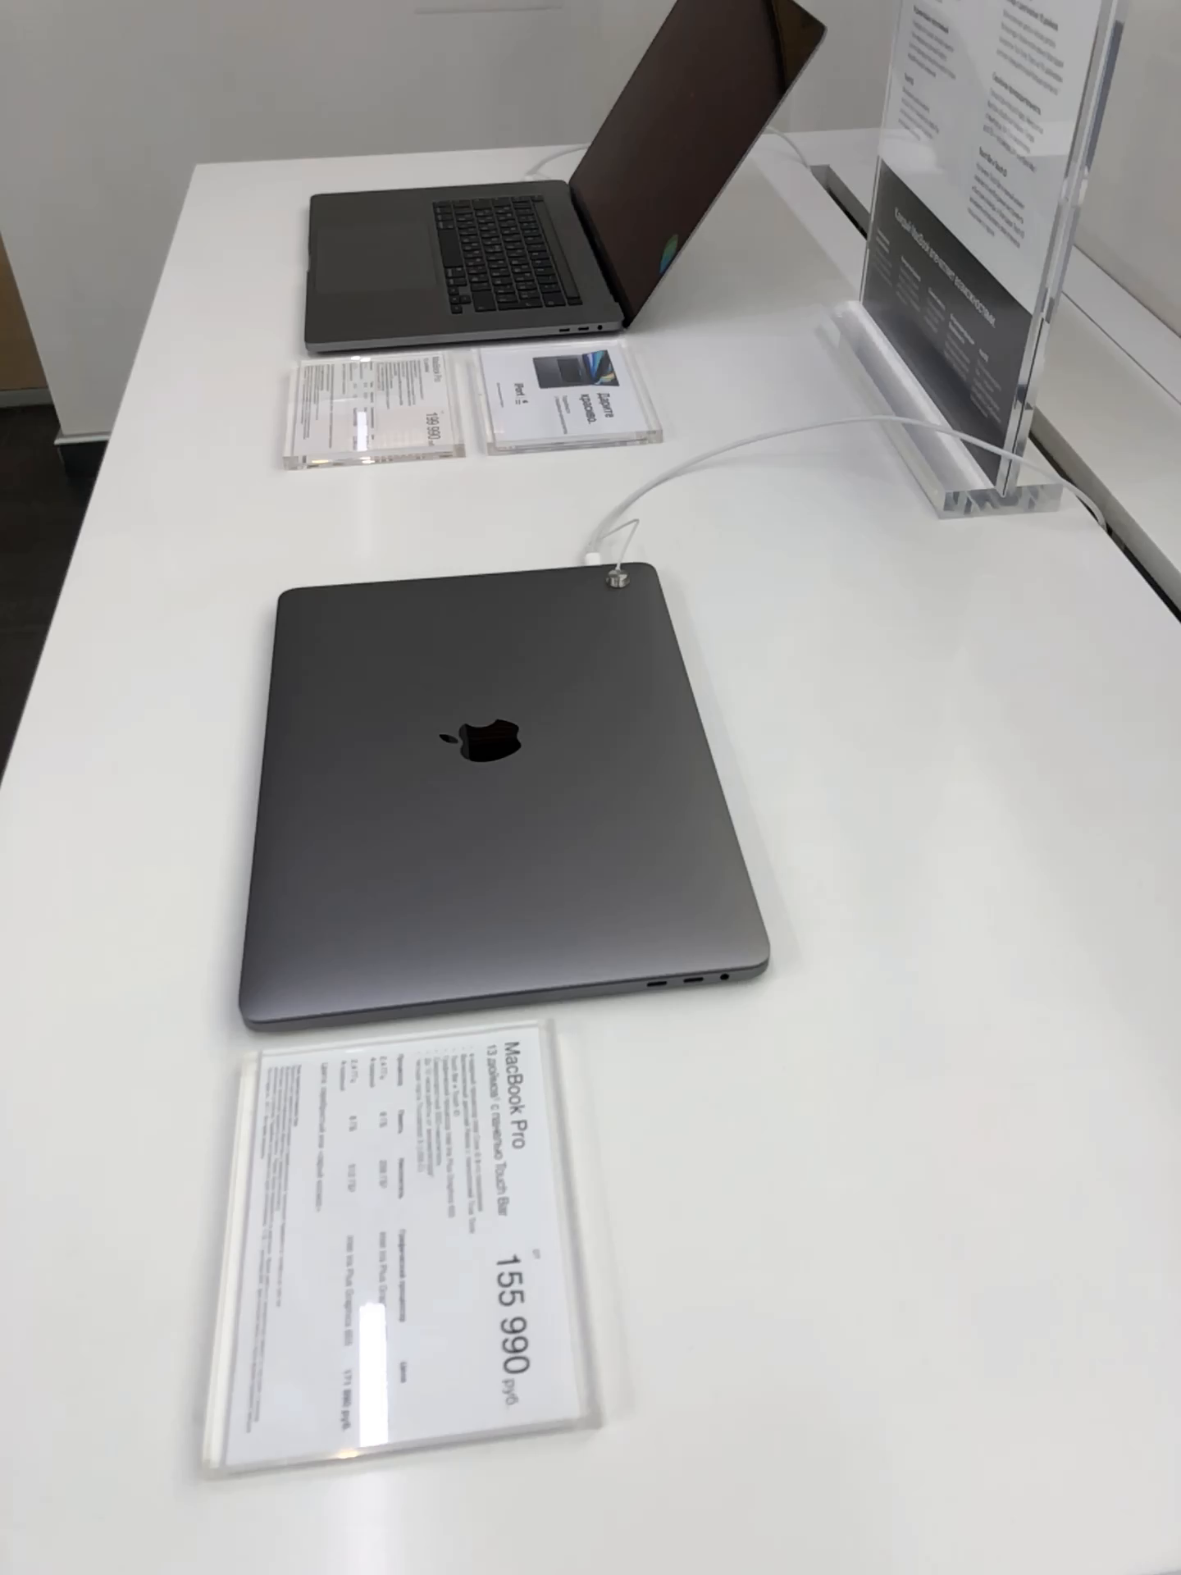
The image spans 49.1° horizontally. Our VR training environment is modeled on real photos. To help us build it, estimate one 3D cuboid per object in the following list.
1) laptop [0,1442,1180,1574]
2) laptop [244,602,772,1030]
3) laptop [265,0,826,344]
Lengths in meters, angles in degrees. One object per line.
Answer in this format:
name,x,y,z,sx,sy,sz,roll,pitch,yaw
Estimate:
laptop,0.059,0.289,0.107,0.276,0.187,0.310,-9,42,-6
laptop,-0.045,-0.006,0.601,0.202,0.001,0.280,-5,39,-4
laptop,-0.049,-0.542,1.060,0.379,0.190,0.350,-7,41,-5
